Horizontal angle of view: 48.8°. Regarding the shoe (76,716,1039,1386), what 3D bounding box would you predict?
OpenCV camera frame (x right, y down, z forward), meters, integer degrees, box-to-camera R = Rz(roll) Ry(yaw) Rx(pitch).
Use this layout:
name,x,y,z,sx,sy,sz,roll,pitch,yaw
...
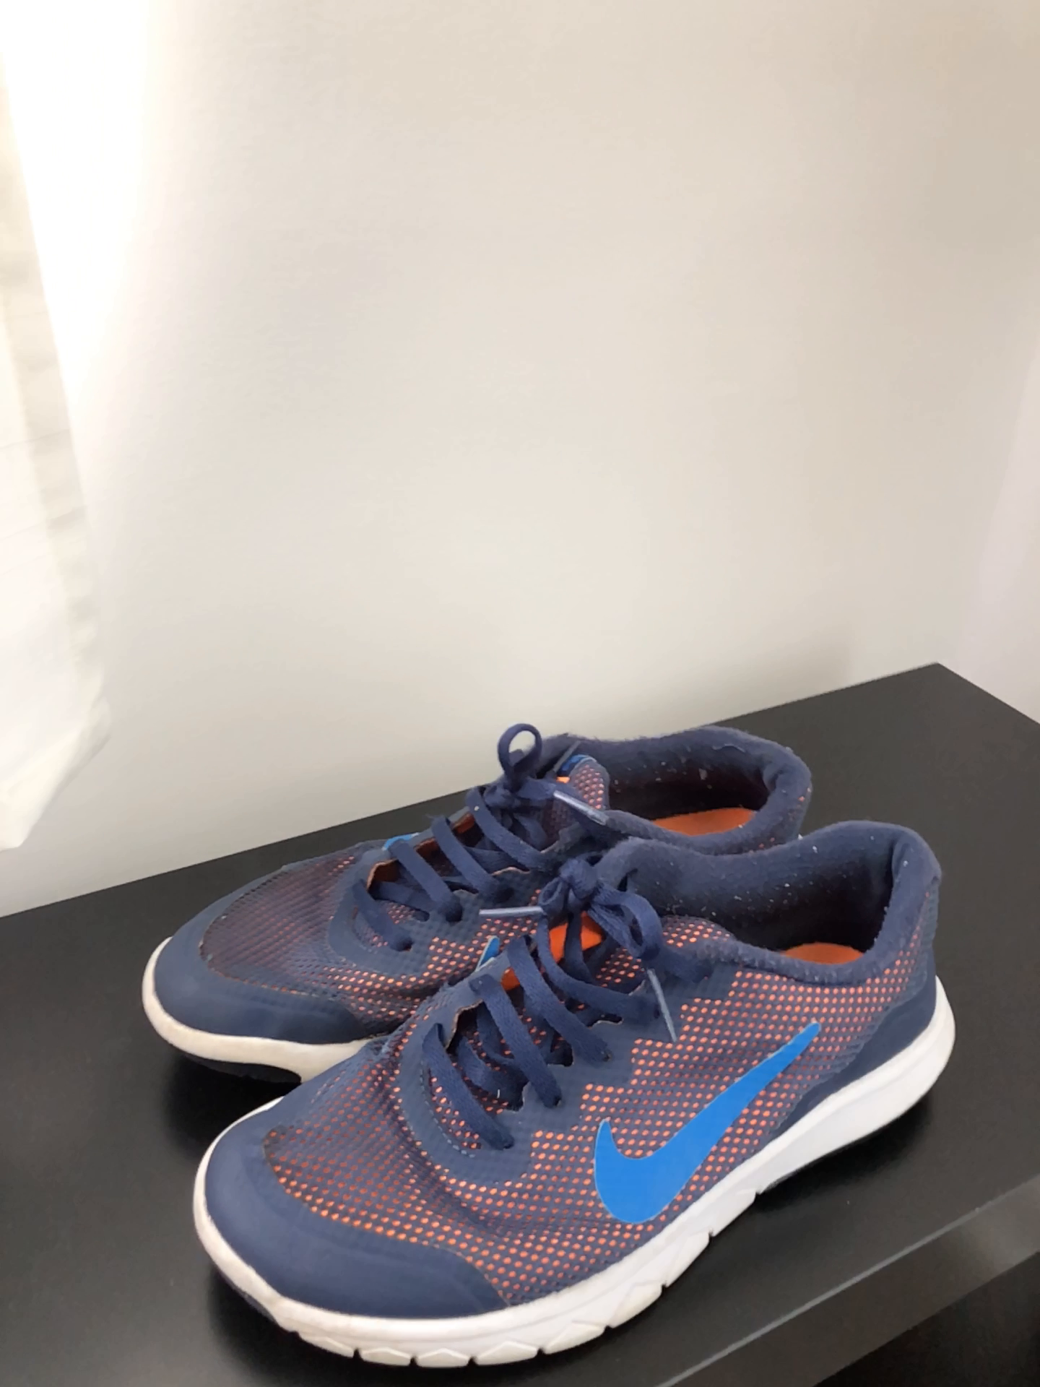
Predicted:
name,x,y,z,sx,sy,sz,roll,pitch,yaw
shoe,0.020,0.103,0.349,0.260,0.089,0.121,-15,34,-28

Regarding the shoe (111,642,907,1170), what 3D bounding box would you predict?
name,x,y,z,sx,sy,sz,roll,pitch,yaw
shoe,-0.002,0.063,0.422,0.260,0.089,0.100,-11,32,-23
